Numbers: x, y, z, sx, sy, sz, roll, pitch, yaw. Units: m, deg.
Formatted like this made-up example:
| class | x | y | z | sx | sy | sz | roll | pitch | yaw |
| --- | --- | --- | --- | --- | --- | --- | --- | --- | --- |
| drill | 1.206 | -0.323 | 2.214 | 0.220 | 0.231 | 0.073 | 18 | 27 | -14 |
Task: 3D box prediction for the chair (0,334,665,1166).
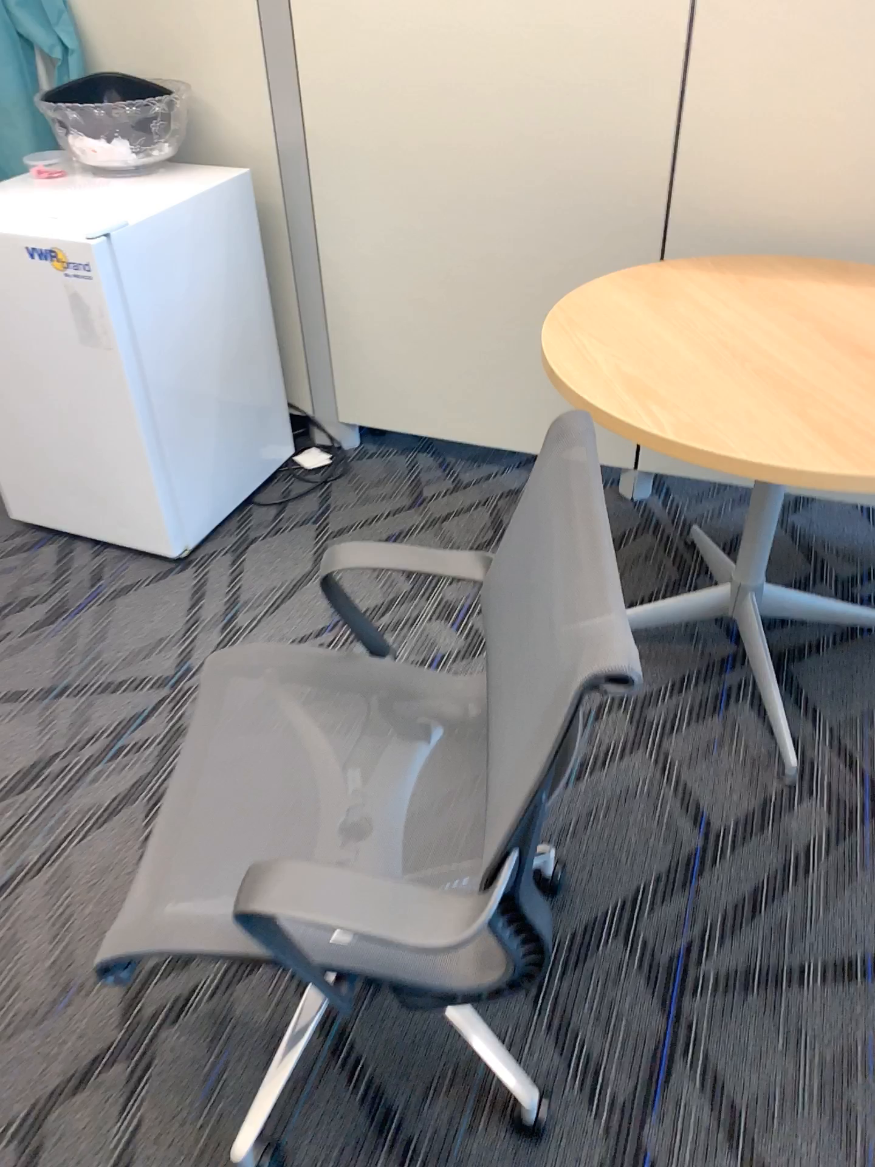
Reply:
| class | x | y | z | sx | sy | sz | roll | pitch | yaw |
| --- | --- | --- | --- | --- | --- | --- | --- | --- | --- |
| chair | -0.169 | 0.192 | 1.112 | 0.700 | 0.753 | 0.686 | 0 | 37 | 3 |
